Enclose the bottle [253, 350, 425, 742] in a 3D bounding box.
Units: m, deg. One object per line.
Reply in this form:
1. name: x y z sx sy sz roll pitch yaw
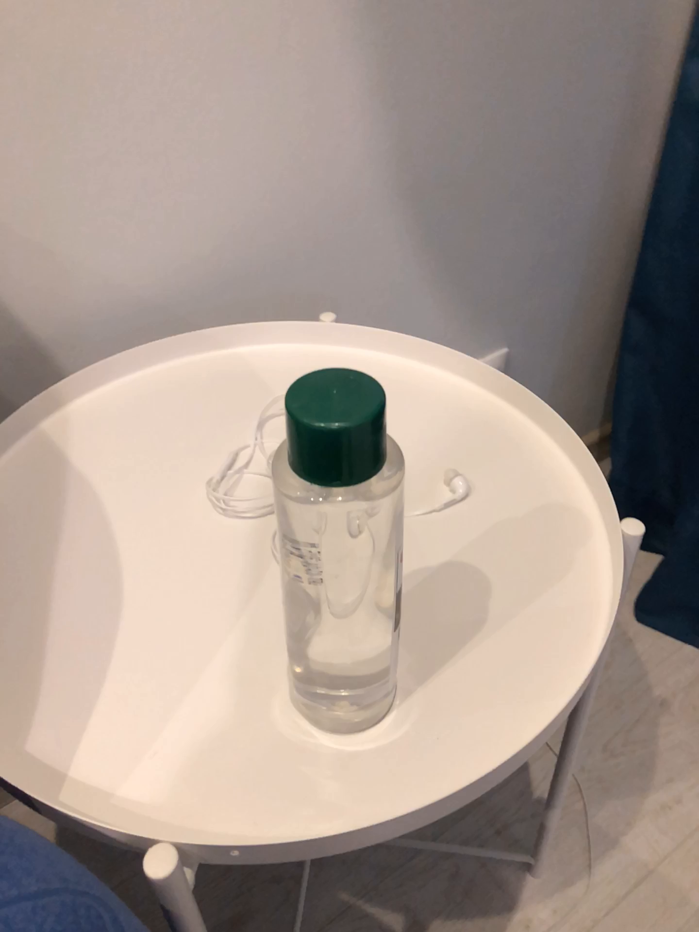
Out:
1. bottle: -0.004 0.048 0.359 0.059 0.199 0.052 -6 40 -6
